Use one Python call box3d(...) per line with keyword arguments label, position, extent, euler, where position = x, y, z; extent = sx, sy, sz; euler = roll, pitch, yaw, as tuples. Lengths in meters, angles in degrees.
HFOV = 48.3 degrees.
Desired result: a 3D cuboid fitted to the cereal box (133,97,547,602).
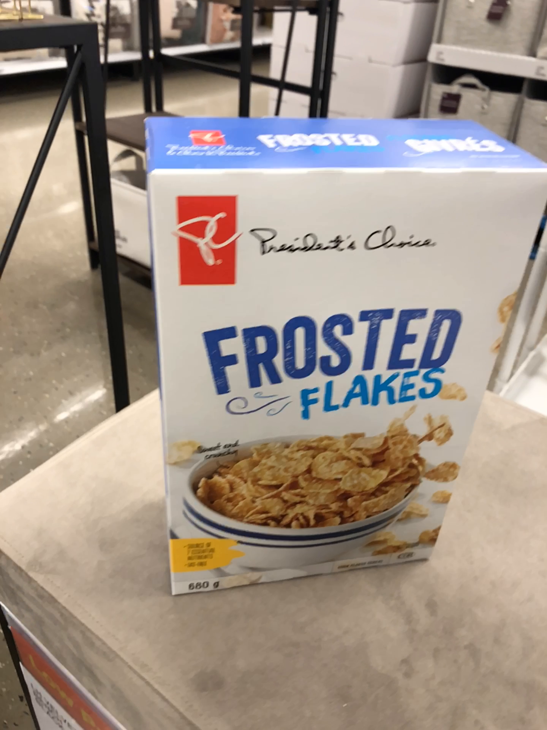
box3d(label="cereal box", position=(0.026, 0.001, 0.379), extent=(0.200, 0.289, 0.100), euler=(-4, 35, -11))
